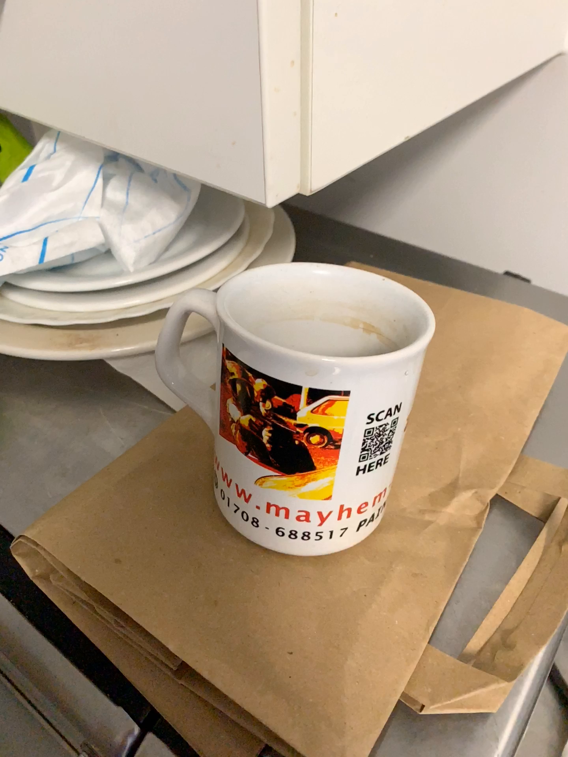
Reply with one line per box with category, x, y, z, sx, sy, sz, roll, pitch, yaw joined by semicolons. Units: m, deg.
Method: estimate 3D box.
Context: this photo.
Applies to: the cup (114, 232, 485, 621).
cup;0.003;0.010;0.224;0.100;0.088;0.078;24;37;26
